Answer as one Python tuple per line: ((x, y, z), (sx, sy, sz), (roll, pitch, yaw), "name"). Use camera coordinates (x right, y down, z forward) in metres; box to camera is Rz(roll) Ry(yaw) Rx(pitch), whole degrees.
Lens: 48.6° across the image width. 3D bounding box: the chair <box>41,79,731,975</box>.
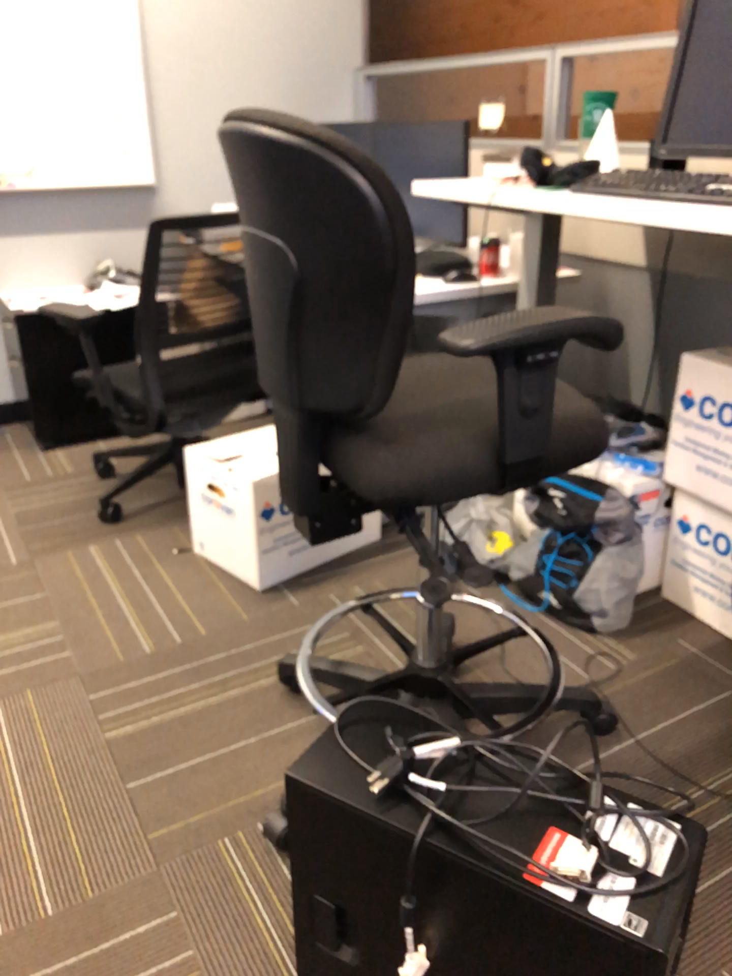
((0.104, -0.079, 1.444), (0.961, 1.104, 0.893), (-14, 27, -28), "chair")
